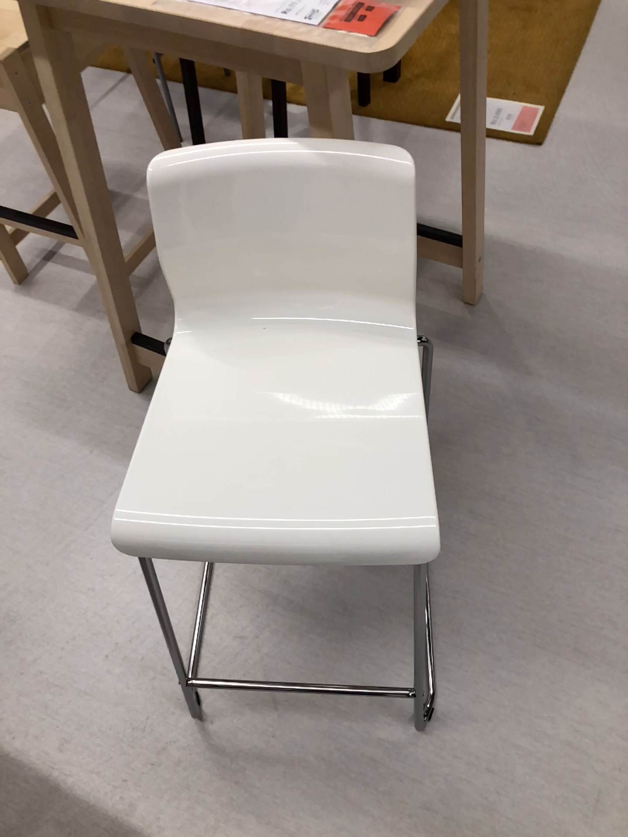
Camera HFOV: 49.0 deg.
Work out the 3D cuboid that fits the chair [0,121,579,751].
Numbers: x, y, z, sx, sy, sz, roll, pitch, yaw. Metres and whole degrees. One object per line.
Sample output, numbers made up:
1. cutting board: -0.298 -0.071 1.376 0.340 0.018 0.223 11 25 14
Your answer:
1. chair: -0.019 0.110 1.019 0.500 0.825 0.553 -1 55 4
